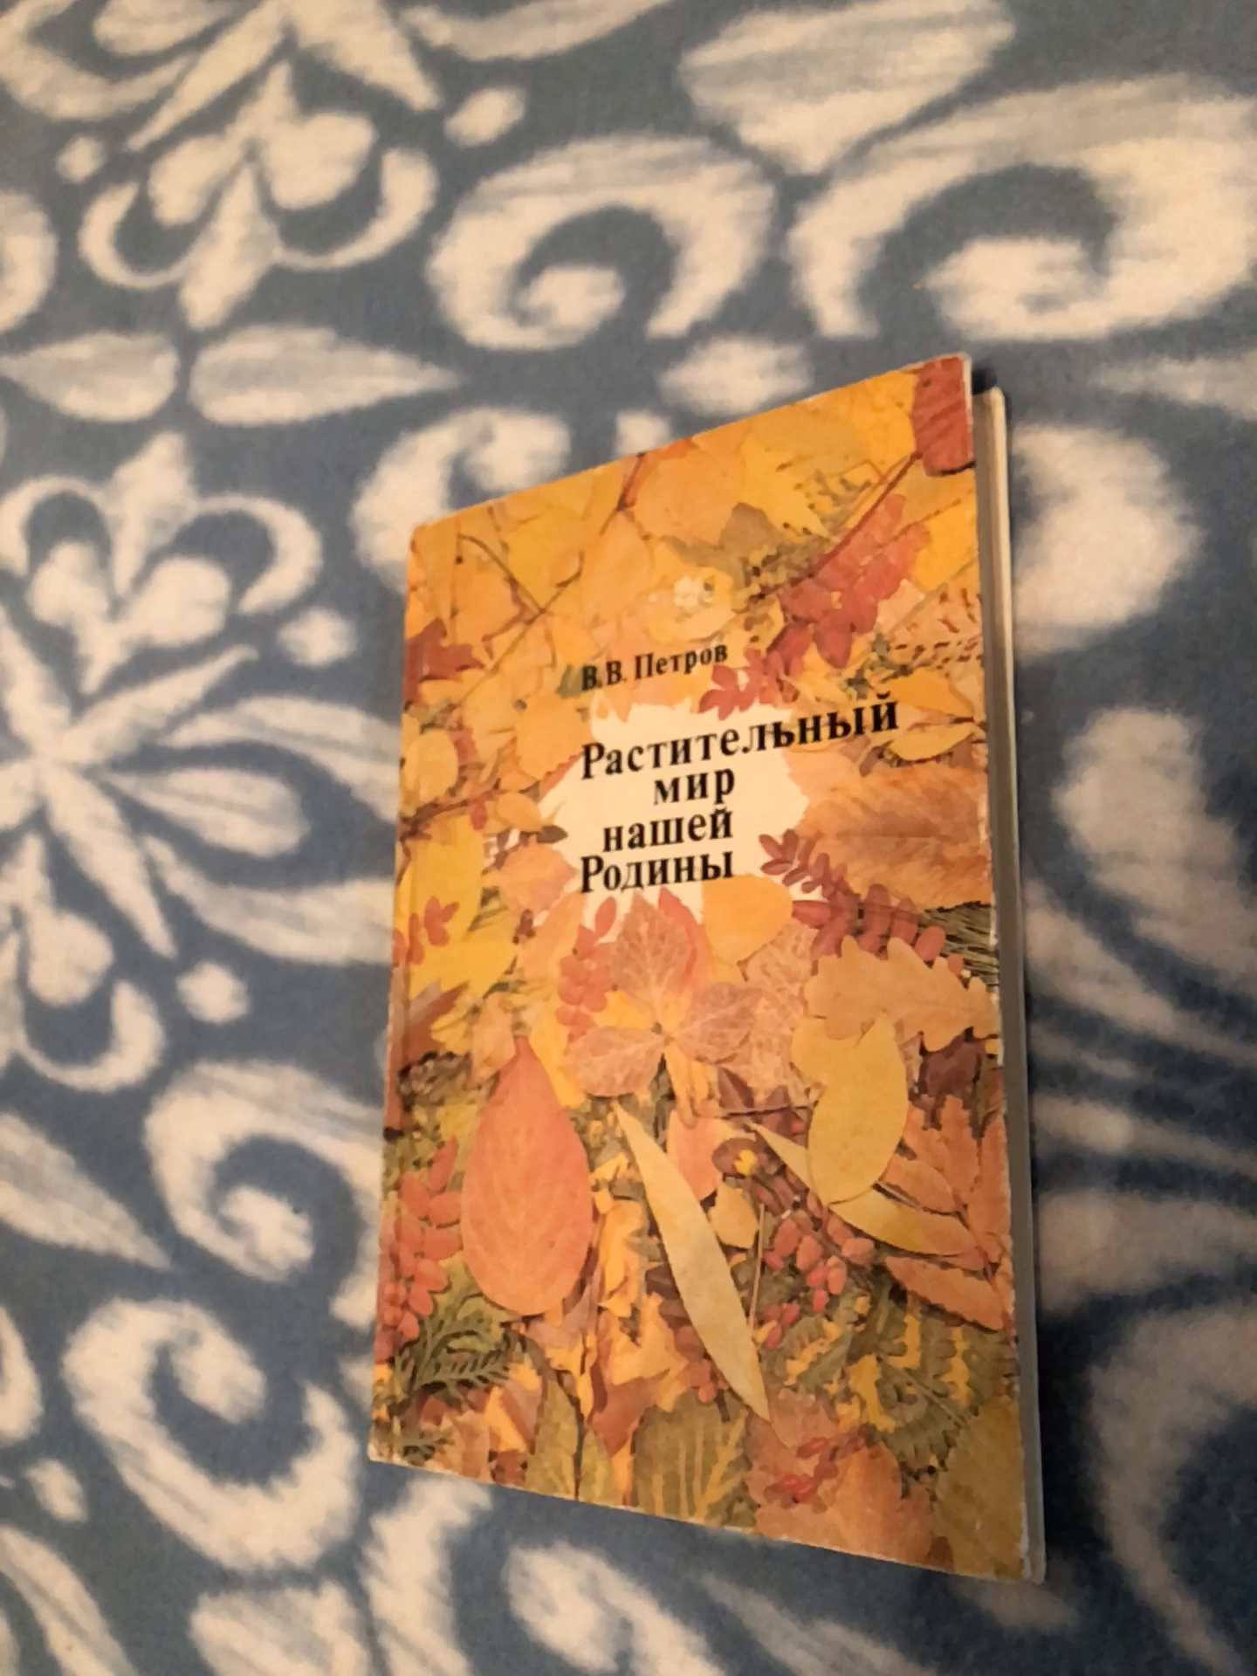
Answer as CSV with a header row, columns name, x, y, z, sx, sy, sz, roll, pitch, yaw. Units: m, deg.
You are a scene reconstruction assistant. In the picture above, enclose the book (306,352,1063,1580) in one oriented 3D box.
name,x,y,z,sx,sy,sz,roll,pitch,yaw
book,0.001,0.023,0.288,0.157,0.020,0.208,-7,77,33
